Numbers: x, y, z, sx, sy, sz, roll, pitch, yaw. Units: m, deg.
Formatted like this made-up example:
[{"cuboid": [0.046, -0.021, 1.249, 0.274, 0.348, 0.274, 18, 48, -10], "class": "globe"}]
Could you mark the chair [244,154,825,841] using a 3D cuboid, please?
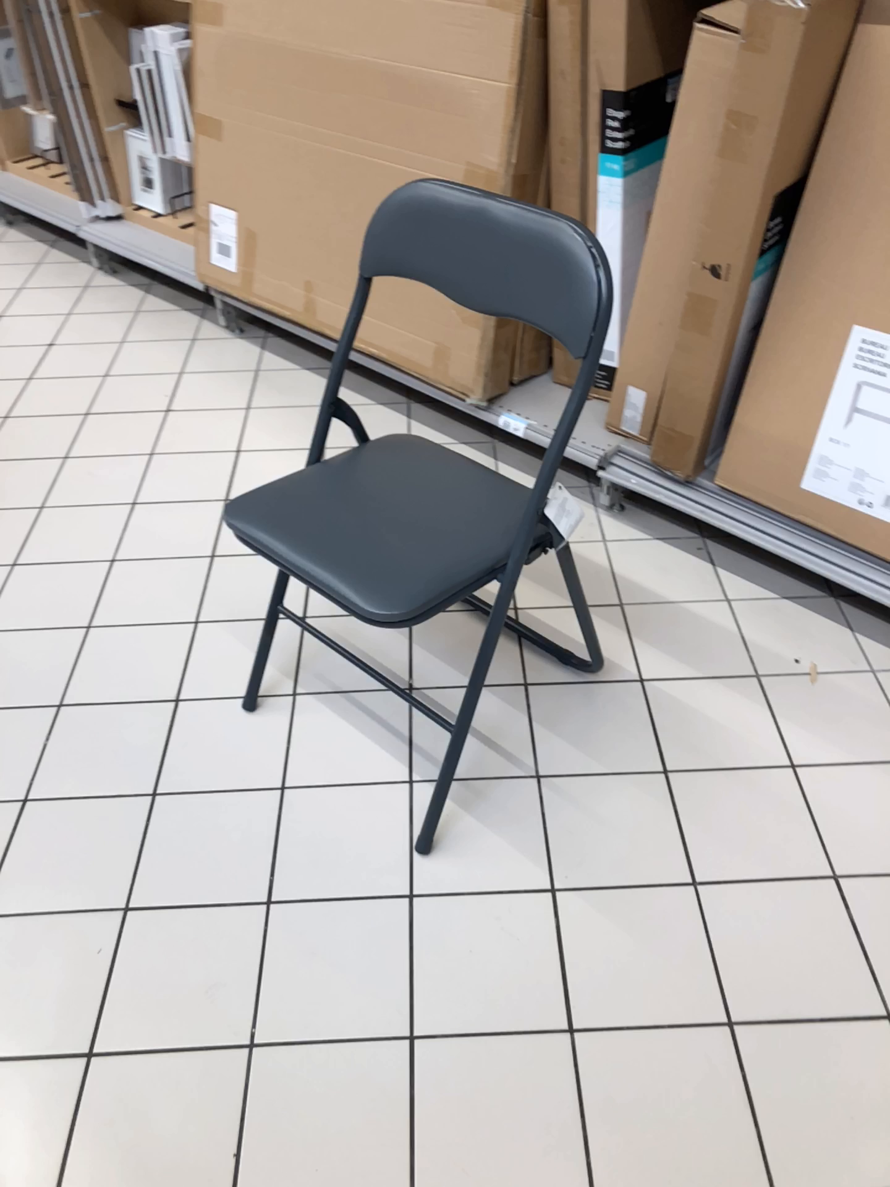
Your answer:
[{"cuboid": [0.111, -0.162, 1.492, 0.551, 0.755, 0.502, 33, 50, 32], "class": "chair"}]
